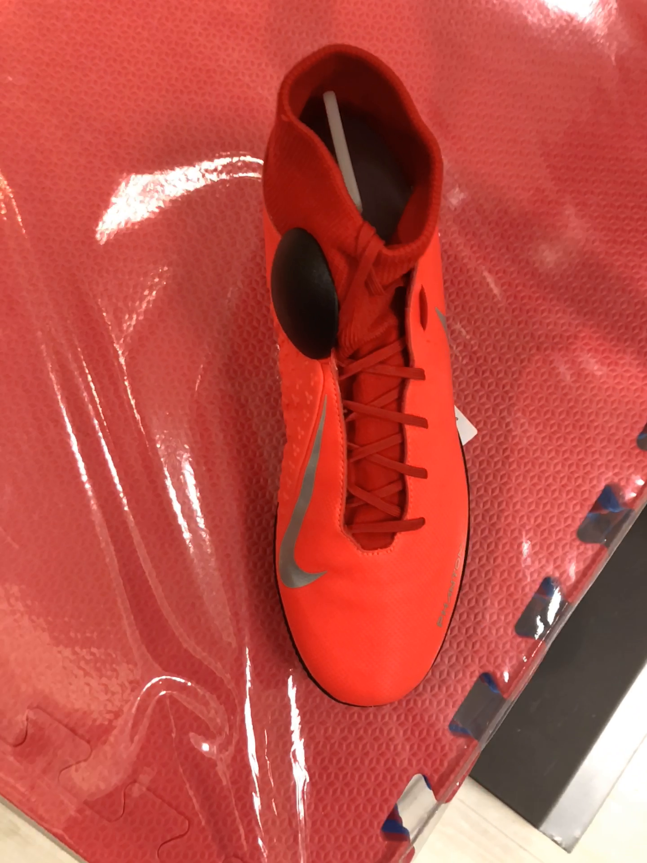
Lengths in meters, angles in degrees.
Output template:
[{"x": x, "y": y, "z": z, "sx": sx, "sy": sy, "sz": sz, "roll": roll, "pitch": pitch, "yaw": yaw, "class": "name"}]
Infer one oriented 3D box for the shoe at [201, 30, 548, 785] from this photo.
[{"x": 0.011, "y": -0.010, "z": 0.299, "sx": 0.090, "sy": 0.120, "sz": 0.250, "roll": -5, "pitch": 81, "yaw": -3, "class": "shoe"}]
